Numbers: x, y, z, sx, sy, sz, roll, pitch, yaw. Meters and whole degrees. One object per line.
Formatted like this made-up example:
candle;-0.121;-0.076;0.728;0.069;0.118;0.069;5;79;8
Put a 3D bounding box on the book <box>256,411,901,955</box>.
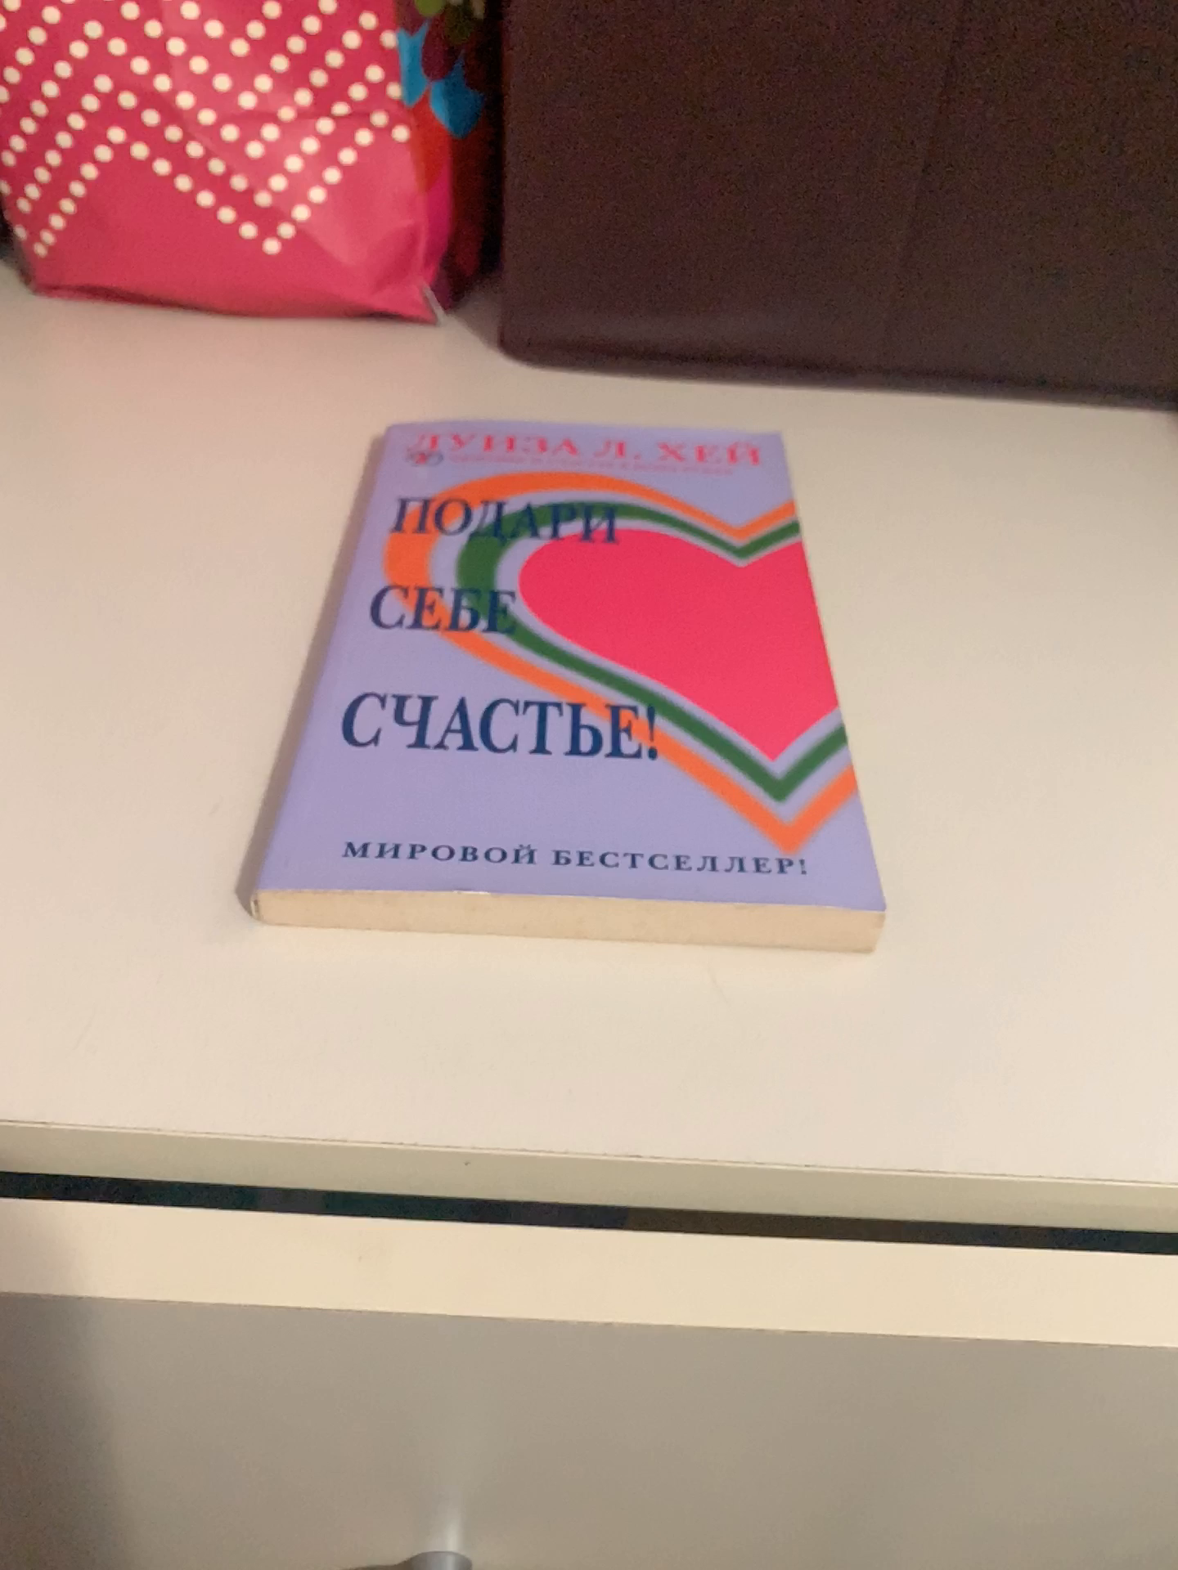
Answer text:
book;-0.001;-0.040;0.311;0.123;0.016;0.195;3;42;-2
